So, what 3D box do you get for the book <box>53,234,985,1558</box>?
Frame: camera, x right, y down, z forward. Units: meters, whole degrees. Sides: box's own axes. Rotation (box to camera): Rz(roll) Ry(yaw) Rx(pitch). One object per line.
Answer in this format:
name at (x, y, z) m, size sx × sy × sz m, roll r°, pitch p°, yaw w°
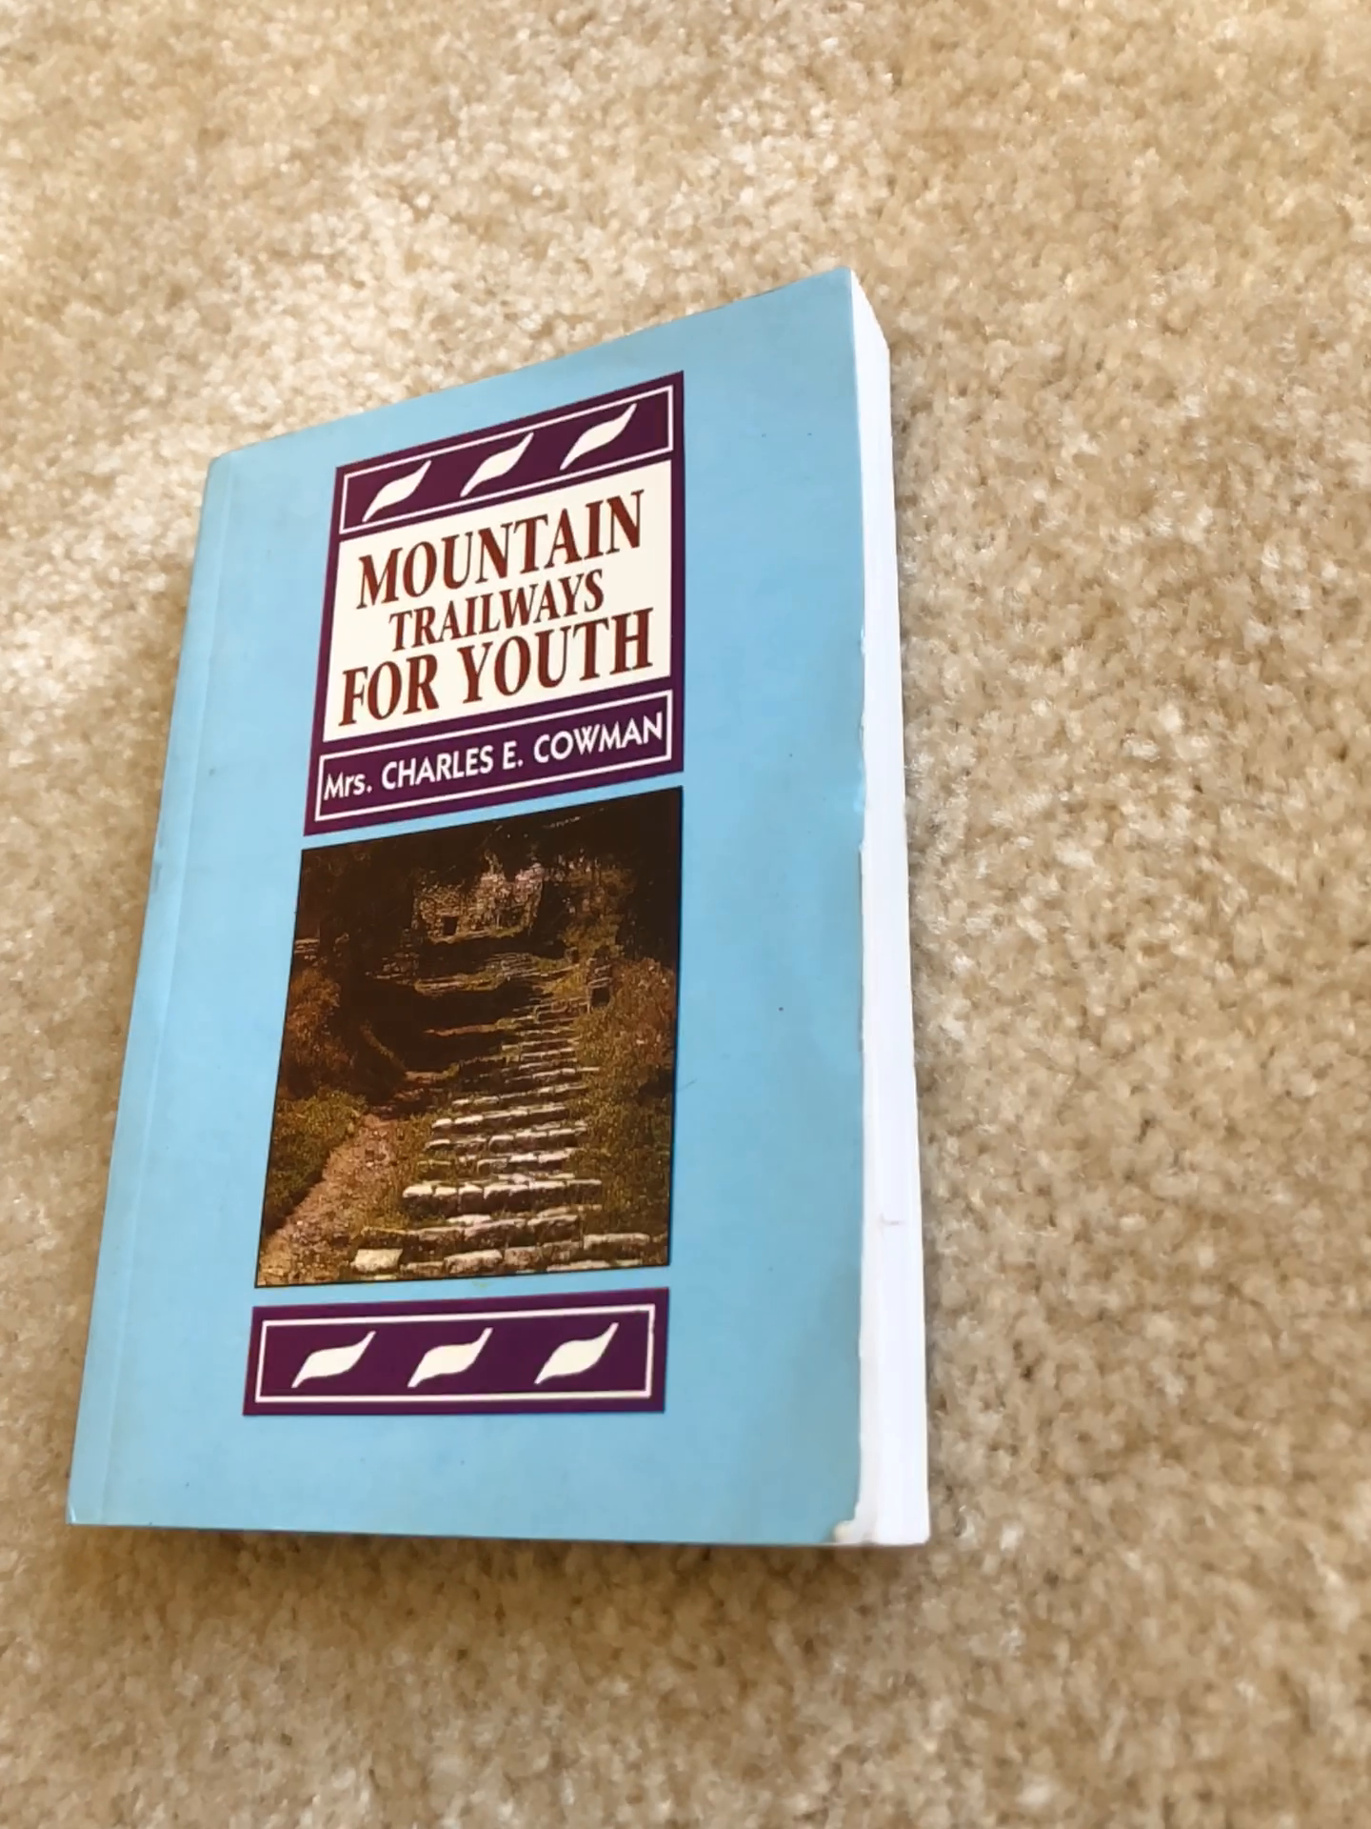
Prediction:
book at (-0.024, -0.002, 0.223) m, size 0.122 × 0.030 × 0.170 m, roll -8°, pitch 69°, yaw 25°
